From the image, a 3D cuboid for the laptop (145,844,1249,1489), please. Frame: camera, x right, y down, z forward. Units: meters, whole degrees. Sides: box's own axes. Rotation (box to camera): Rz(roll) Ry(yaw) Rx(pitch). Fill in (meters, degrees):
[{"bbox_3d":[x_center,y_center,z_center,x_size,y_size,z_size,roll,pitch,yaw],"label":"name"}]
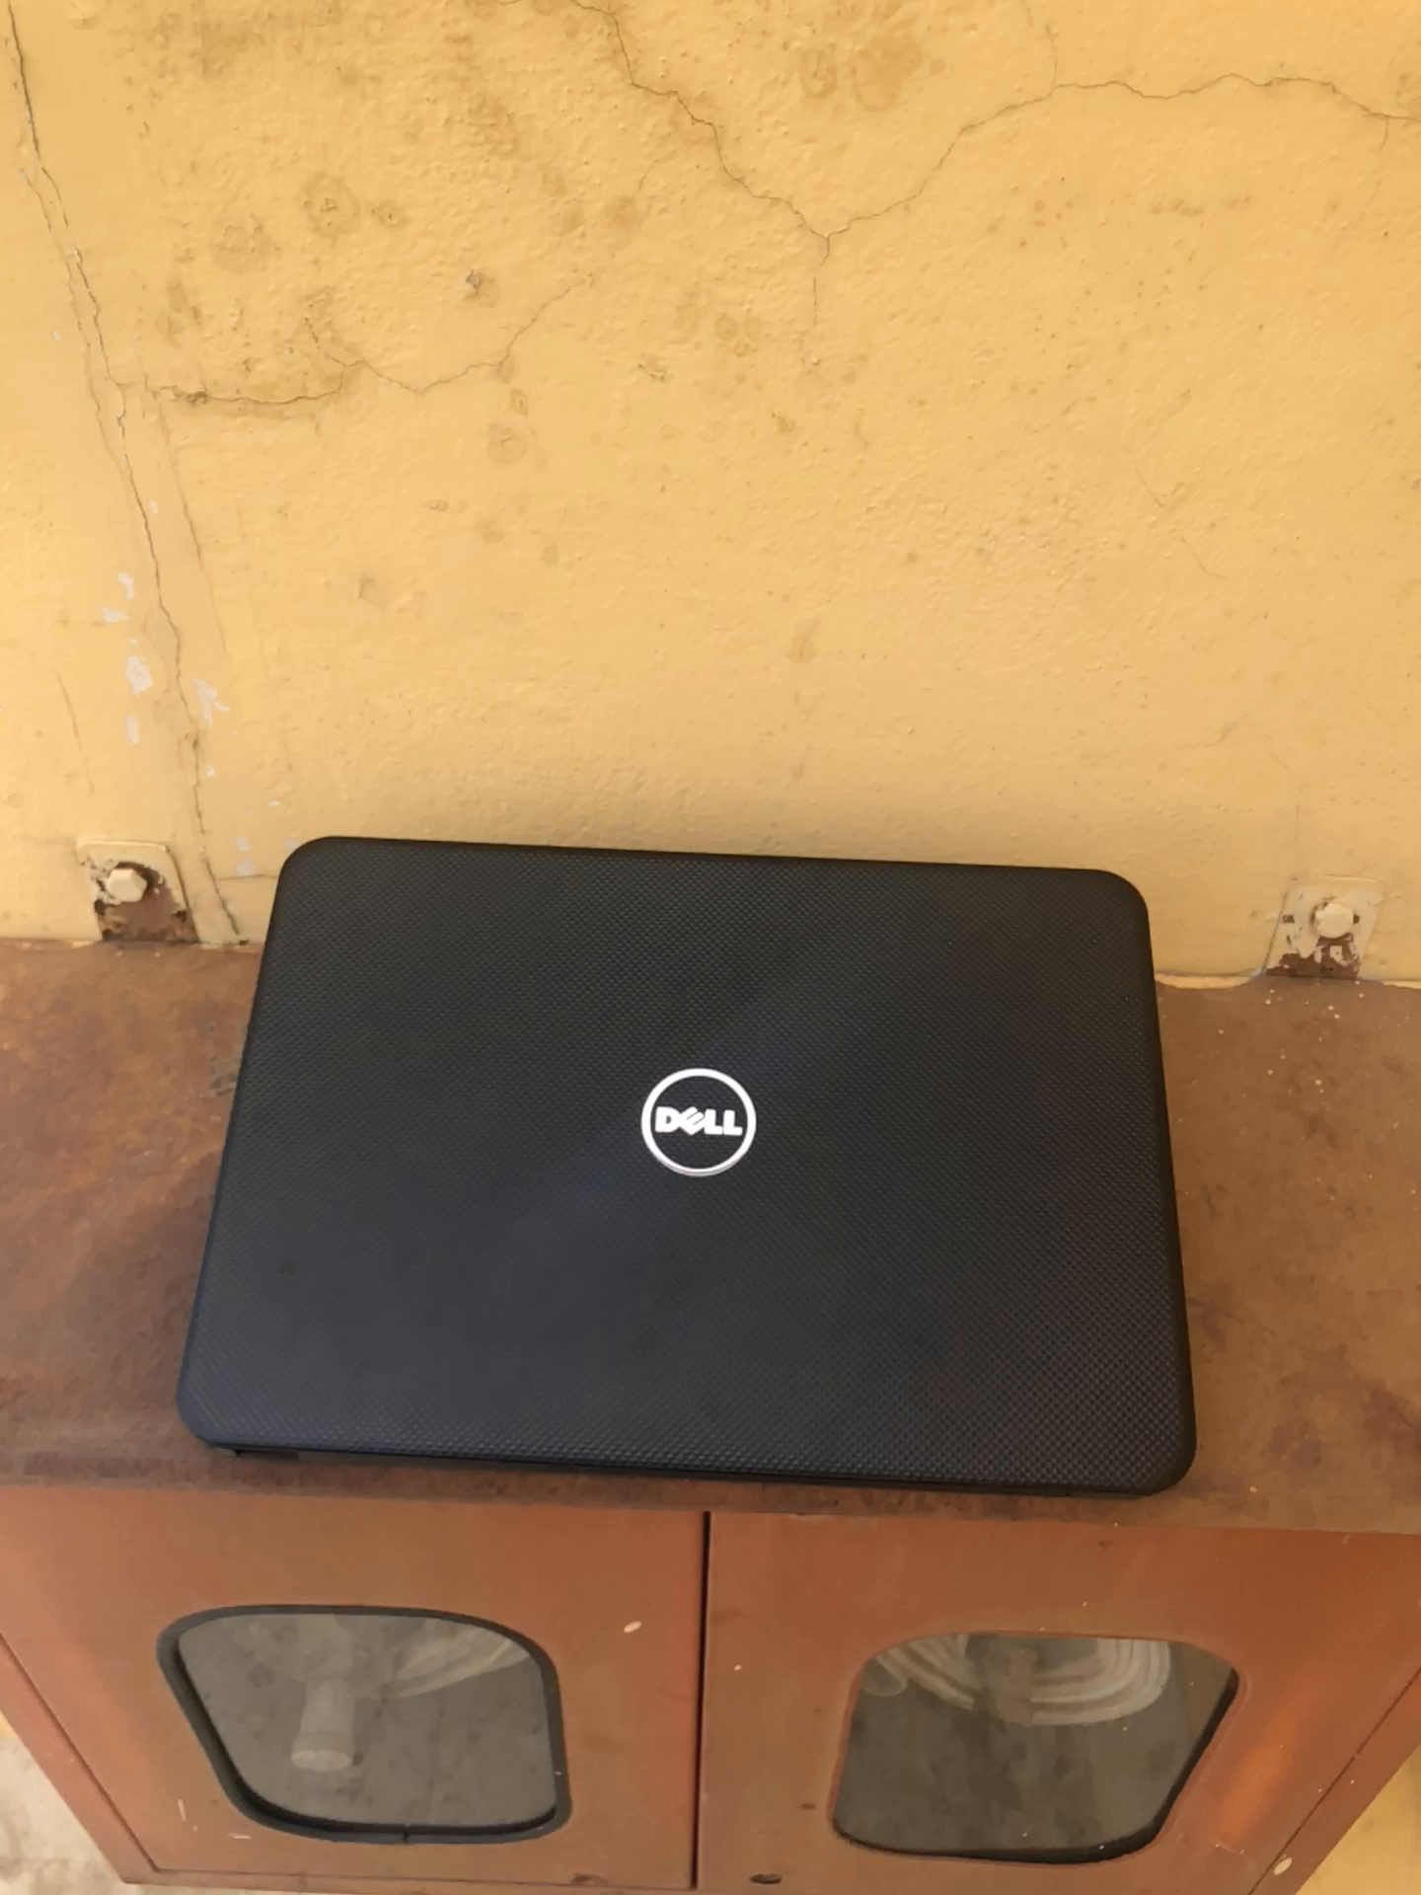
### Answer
[{"bbox_3d":[0.000,0.077,0.587,0.352,0.098,0.184,2,52,2],"label":"laptop"}]
